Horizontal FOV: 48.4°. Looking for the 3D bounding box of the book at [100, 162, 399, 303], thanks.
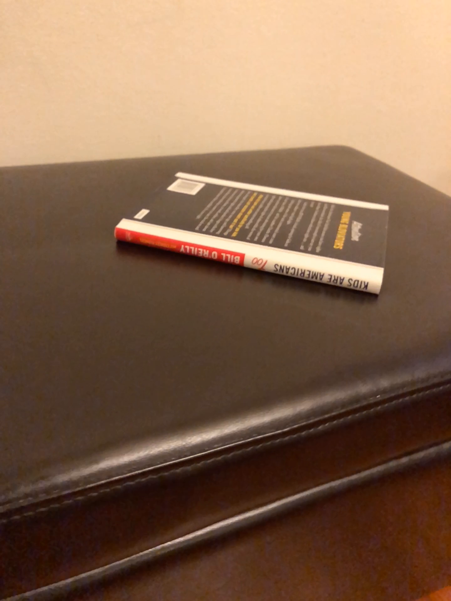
[{"bbox_3d":[0.033,-0.072,0.444,0.230,0.020,0.161,12,34,11],"label":"book"}]
